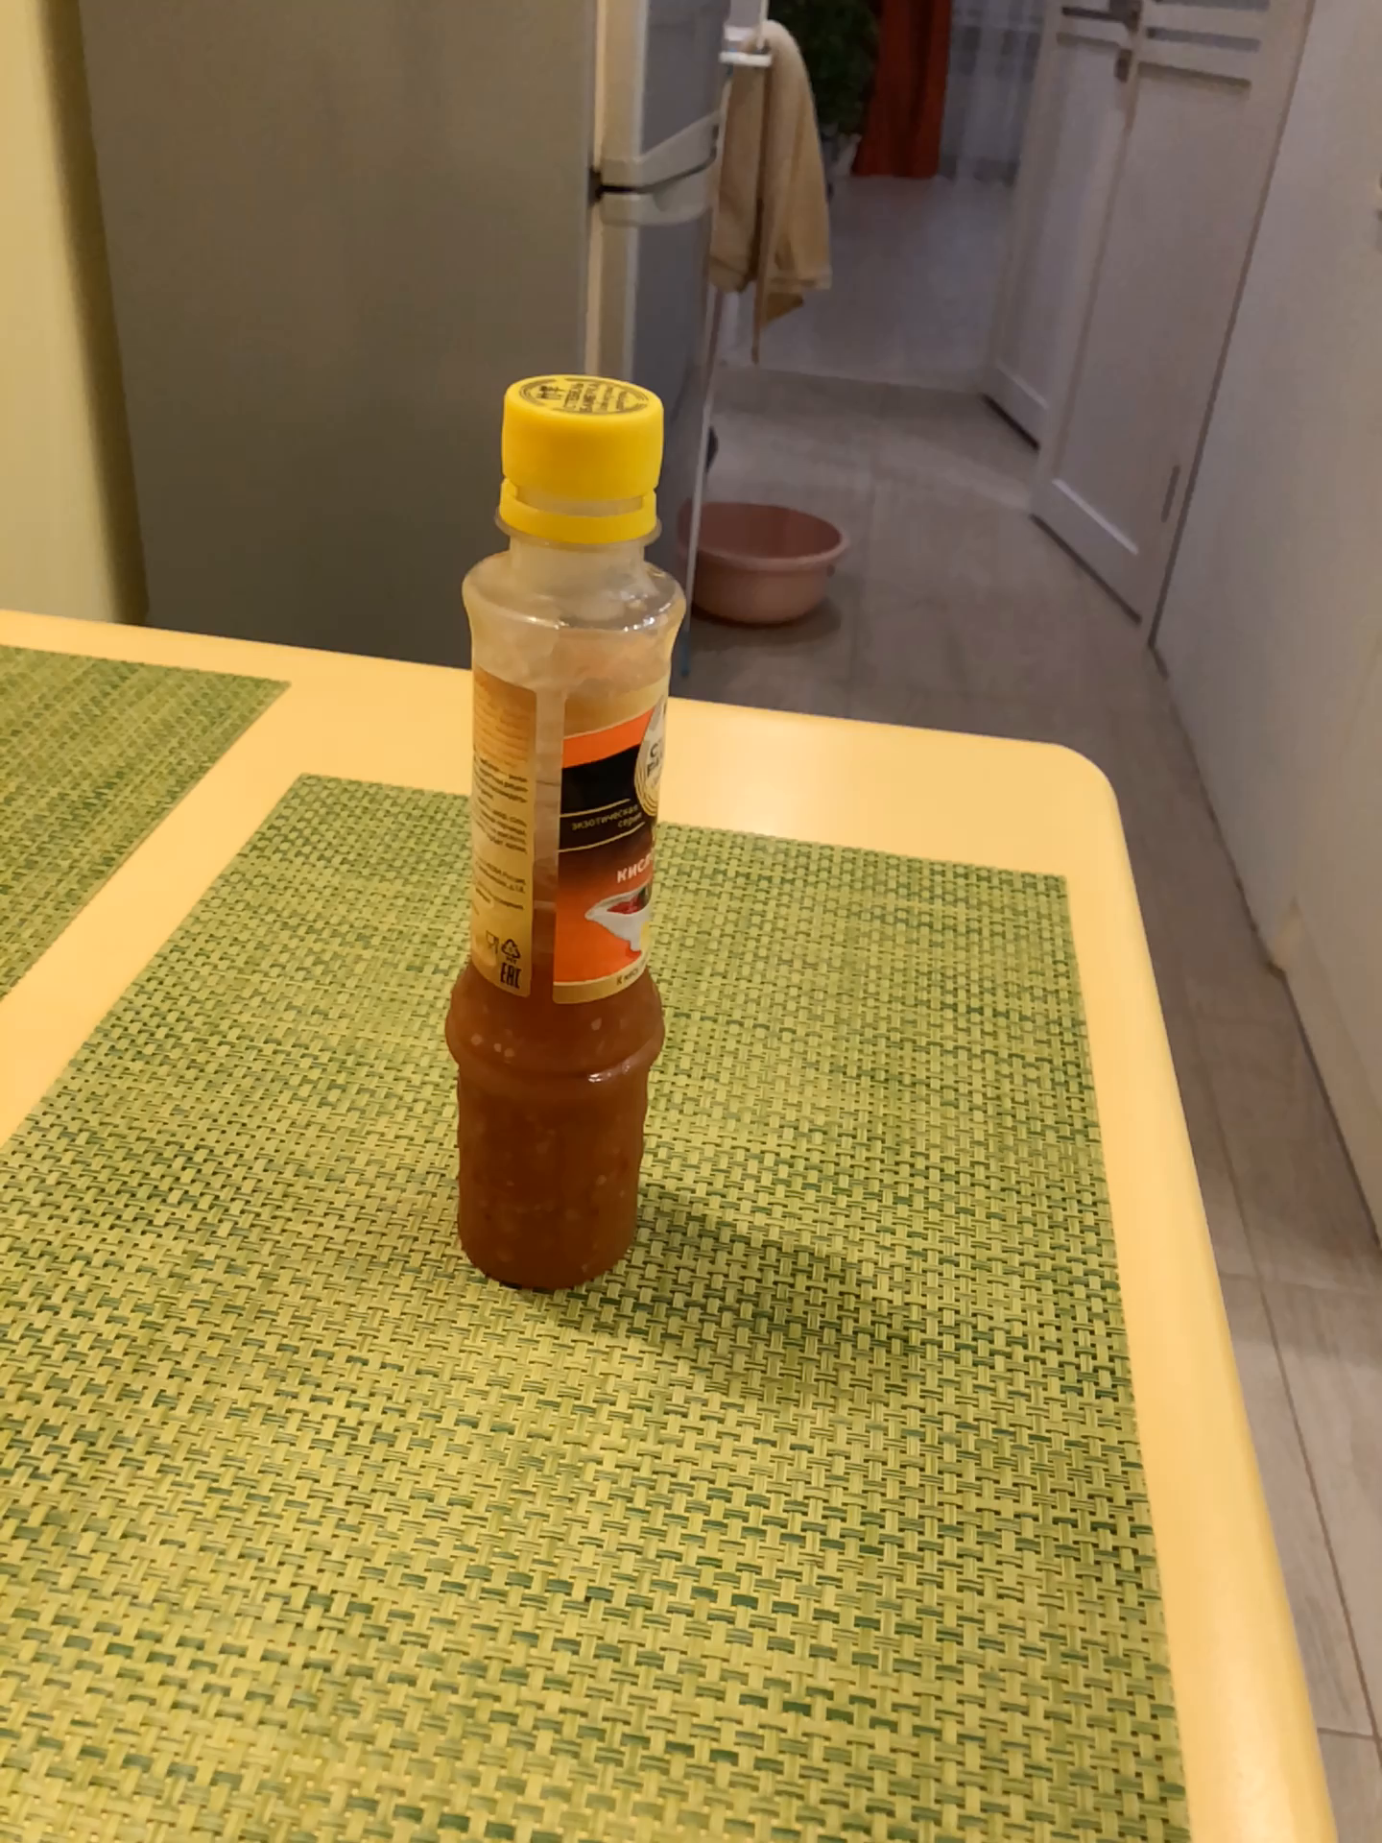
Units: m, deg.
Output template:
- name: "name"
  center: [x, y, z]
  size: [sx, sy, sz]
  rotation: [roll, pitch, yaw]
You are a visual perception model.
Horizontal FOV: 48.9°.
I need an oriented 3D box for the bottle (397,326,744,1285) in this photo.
- name: "bottle"
  center: [-0.031, -0.016, 0.344]
  size: [0.060, 0.208, 0.060]
  rotation: [4, 31, -3]
